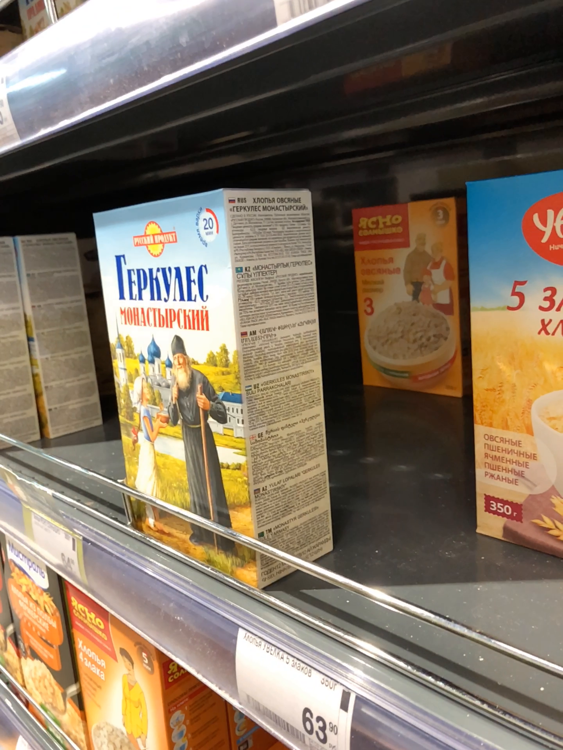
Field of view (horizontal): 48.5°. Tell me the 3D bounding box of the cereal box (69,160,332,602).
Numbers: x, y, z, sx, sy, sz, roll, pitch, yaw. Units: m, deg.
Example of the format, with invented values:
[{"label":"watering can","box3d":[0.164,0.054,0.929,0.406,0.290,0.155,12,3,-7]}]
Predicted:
[{"label":"cereal box","box3d":[-0.046,-0.003,0.342,0.130,0.199,0.060,7,15,44]}]
